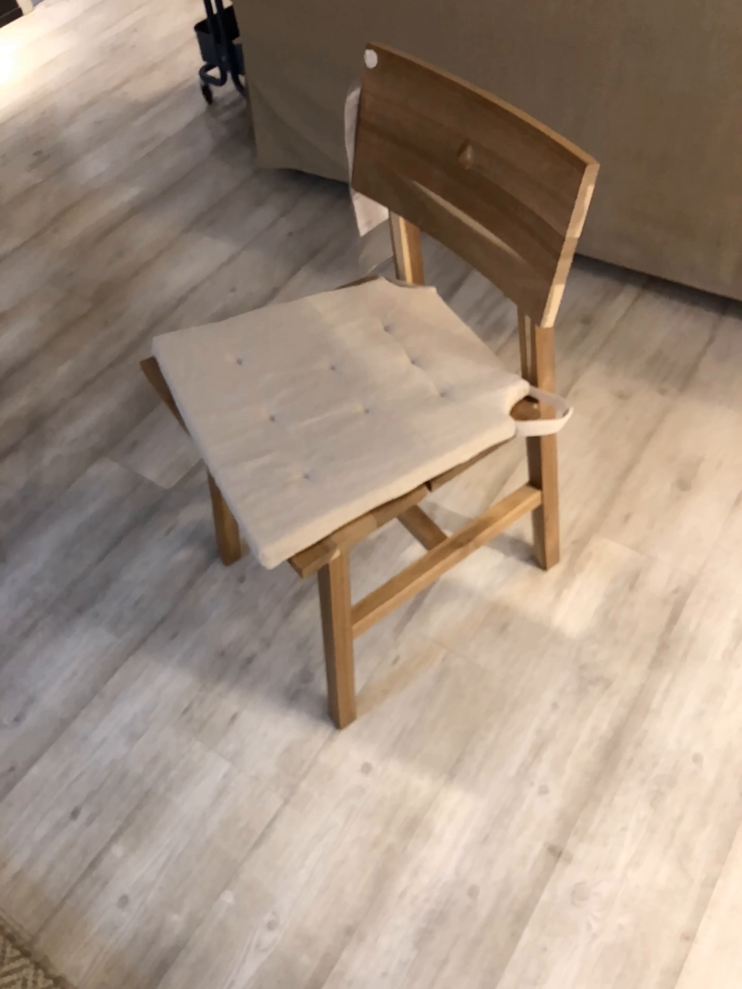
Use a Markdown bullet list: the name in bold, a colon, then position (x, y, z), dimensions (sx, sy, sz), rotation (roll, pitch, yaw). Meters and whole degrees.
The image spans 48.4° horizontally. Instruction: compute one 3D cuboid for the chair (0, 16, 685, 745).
- **chair**: position (-0.036, -0.139, 1.070), dimensions (0.530, 0.598, 0.501), rotation (-31, 55, -17)
